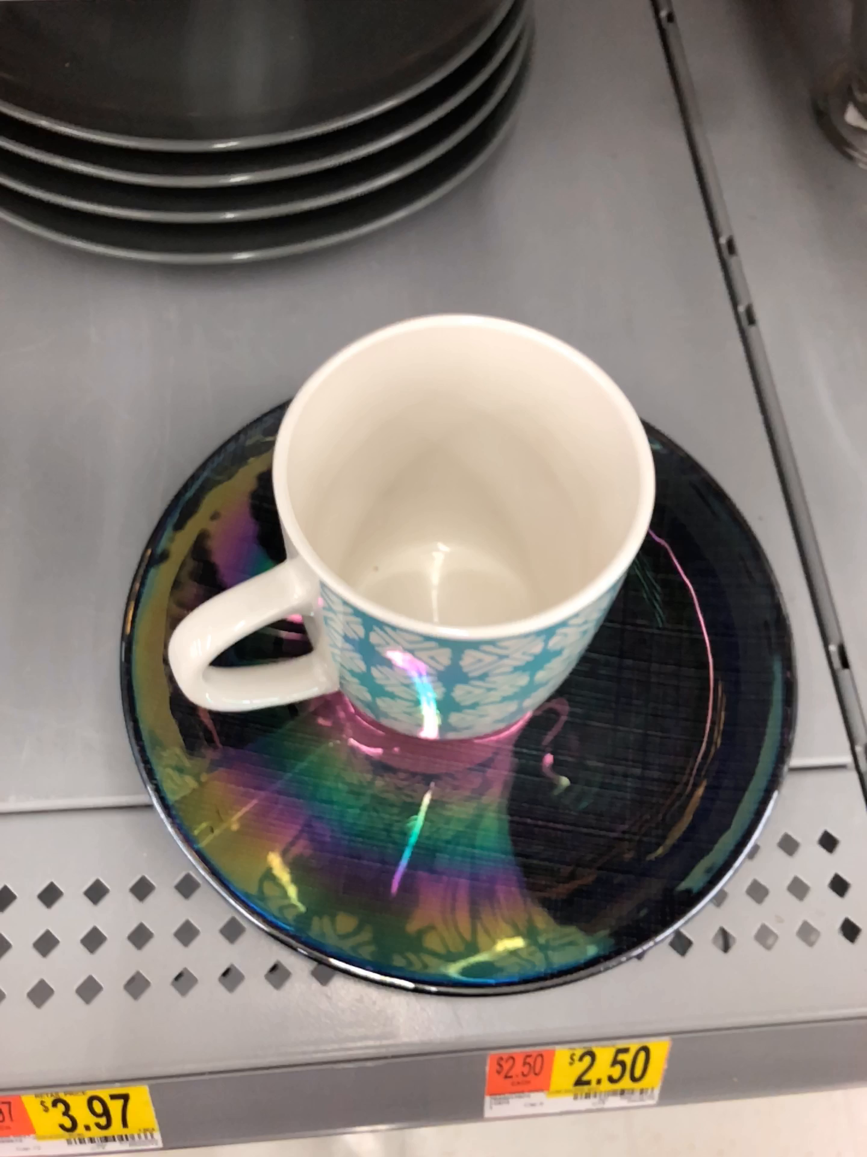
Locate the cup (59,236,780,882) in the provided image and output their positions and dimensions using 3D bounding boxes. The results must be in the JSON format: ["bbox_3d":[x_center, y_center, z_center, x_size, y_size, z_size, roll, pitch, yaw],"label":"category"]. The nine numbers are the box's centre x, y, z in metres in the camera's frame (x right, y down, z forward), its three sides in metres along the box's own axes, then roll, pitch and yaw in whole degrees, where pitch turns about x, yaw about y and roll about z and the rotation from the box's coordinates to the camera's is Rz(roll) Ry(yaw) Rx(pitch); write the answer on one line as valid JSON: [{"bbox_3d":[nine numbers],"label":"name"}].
[{"bbox_3d":[-0.006,-0.001,0.245,0.122,0.098,0.089,-23,68,-14],"label":"cup"}]
